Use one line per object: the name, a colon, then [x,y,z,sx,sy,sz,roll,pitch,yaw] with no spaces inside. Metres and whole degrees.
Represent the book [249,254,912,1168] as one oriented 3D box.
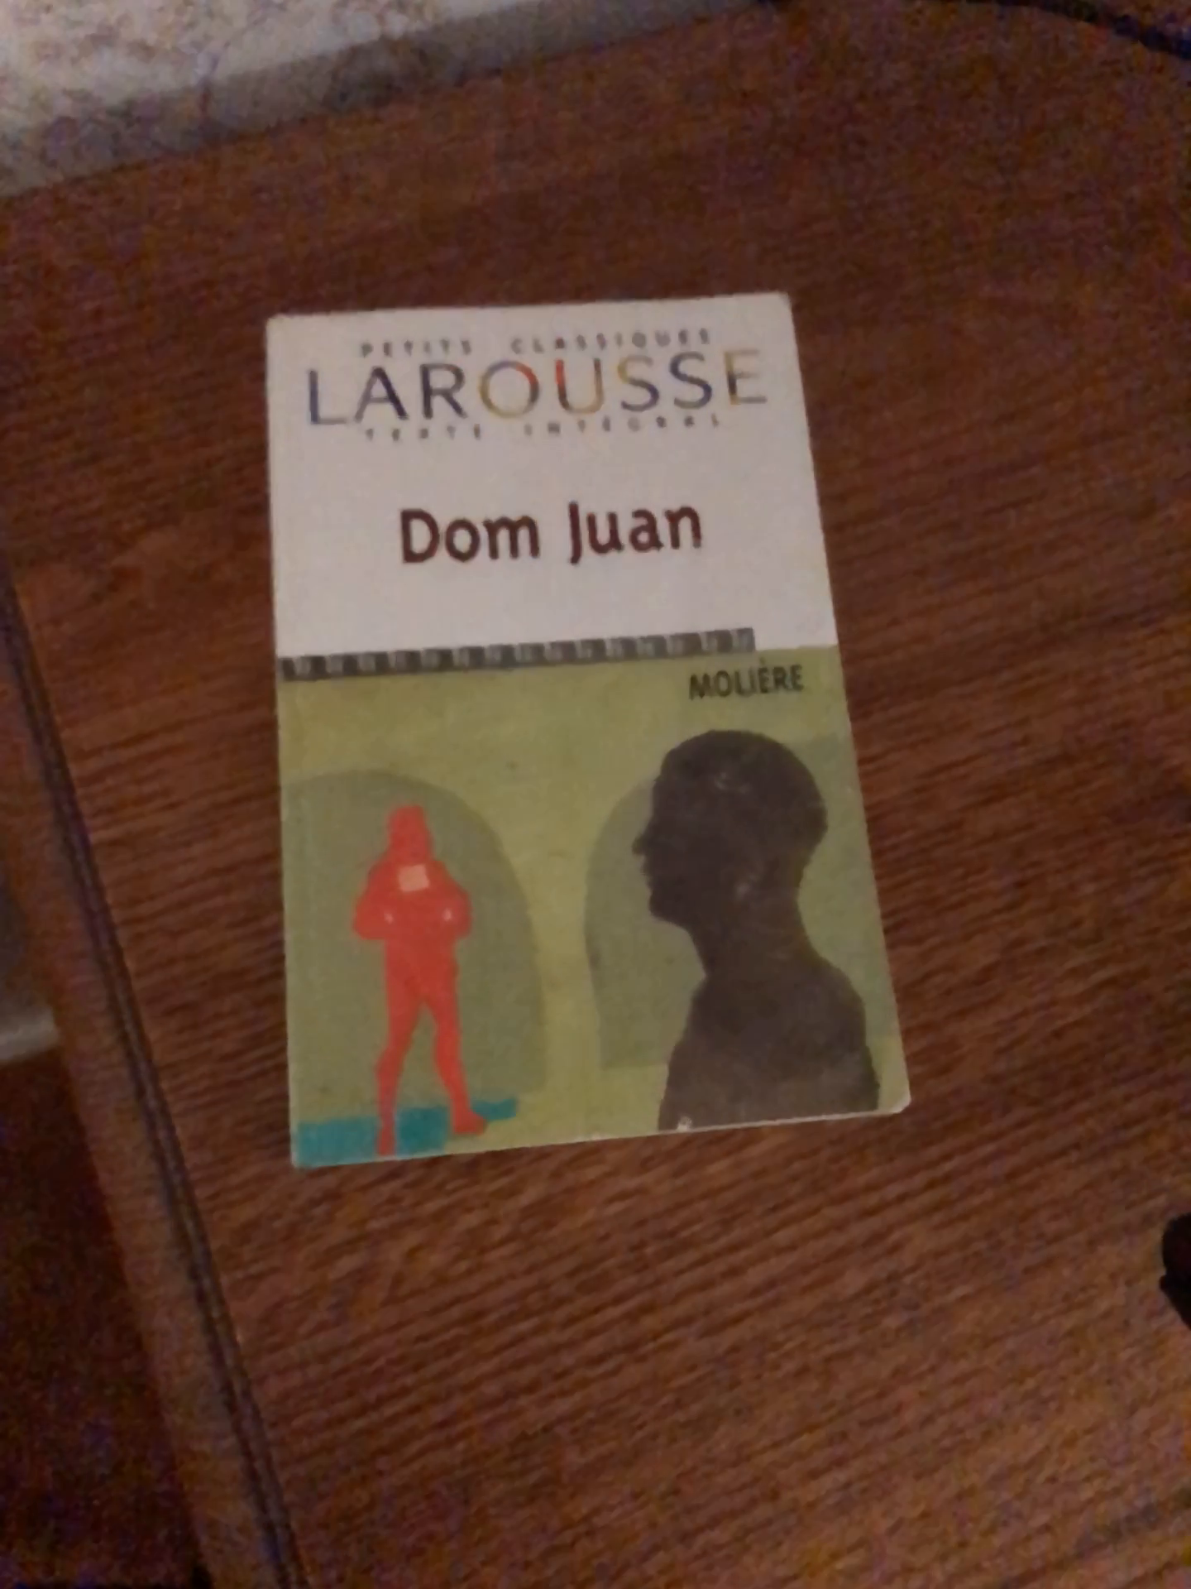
book: [-0.008,-0.025,0.264,0.115,0.010,0.180,-3,75,-5]
